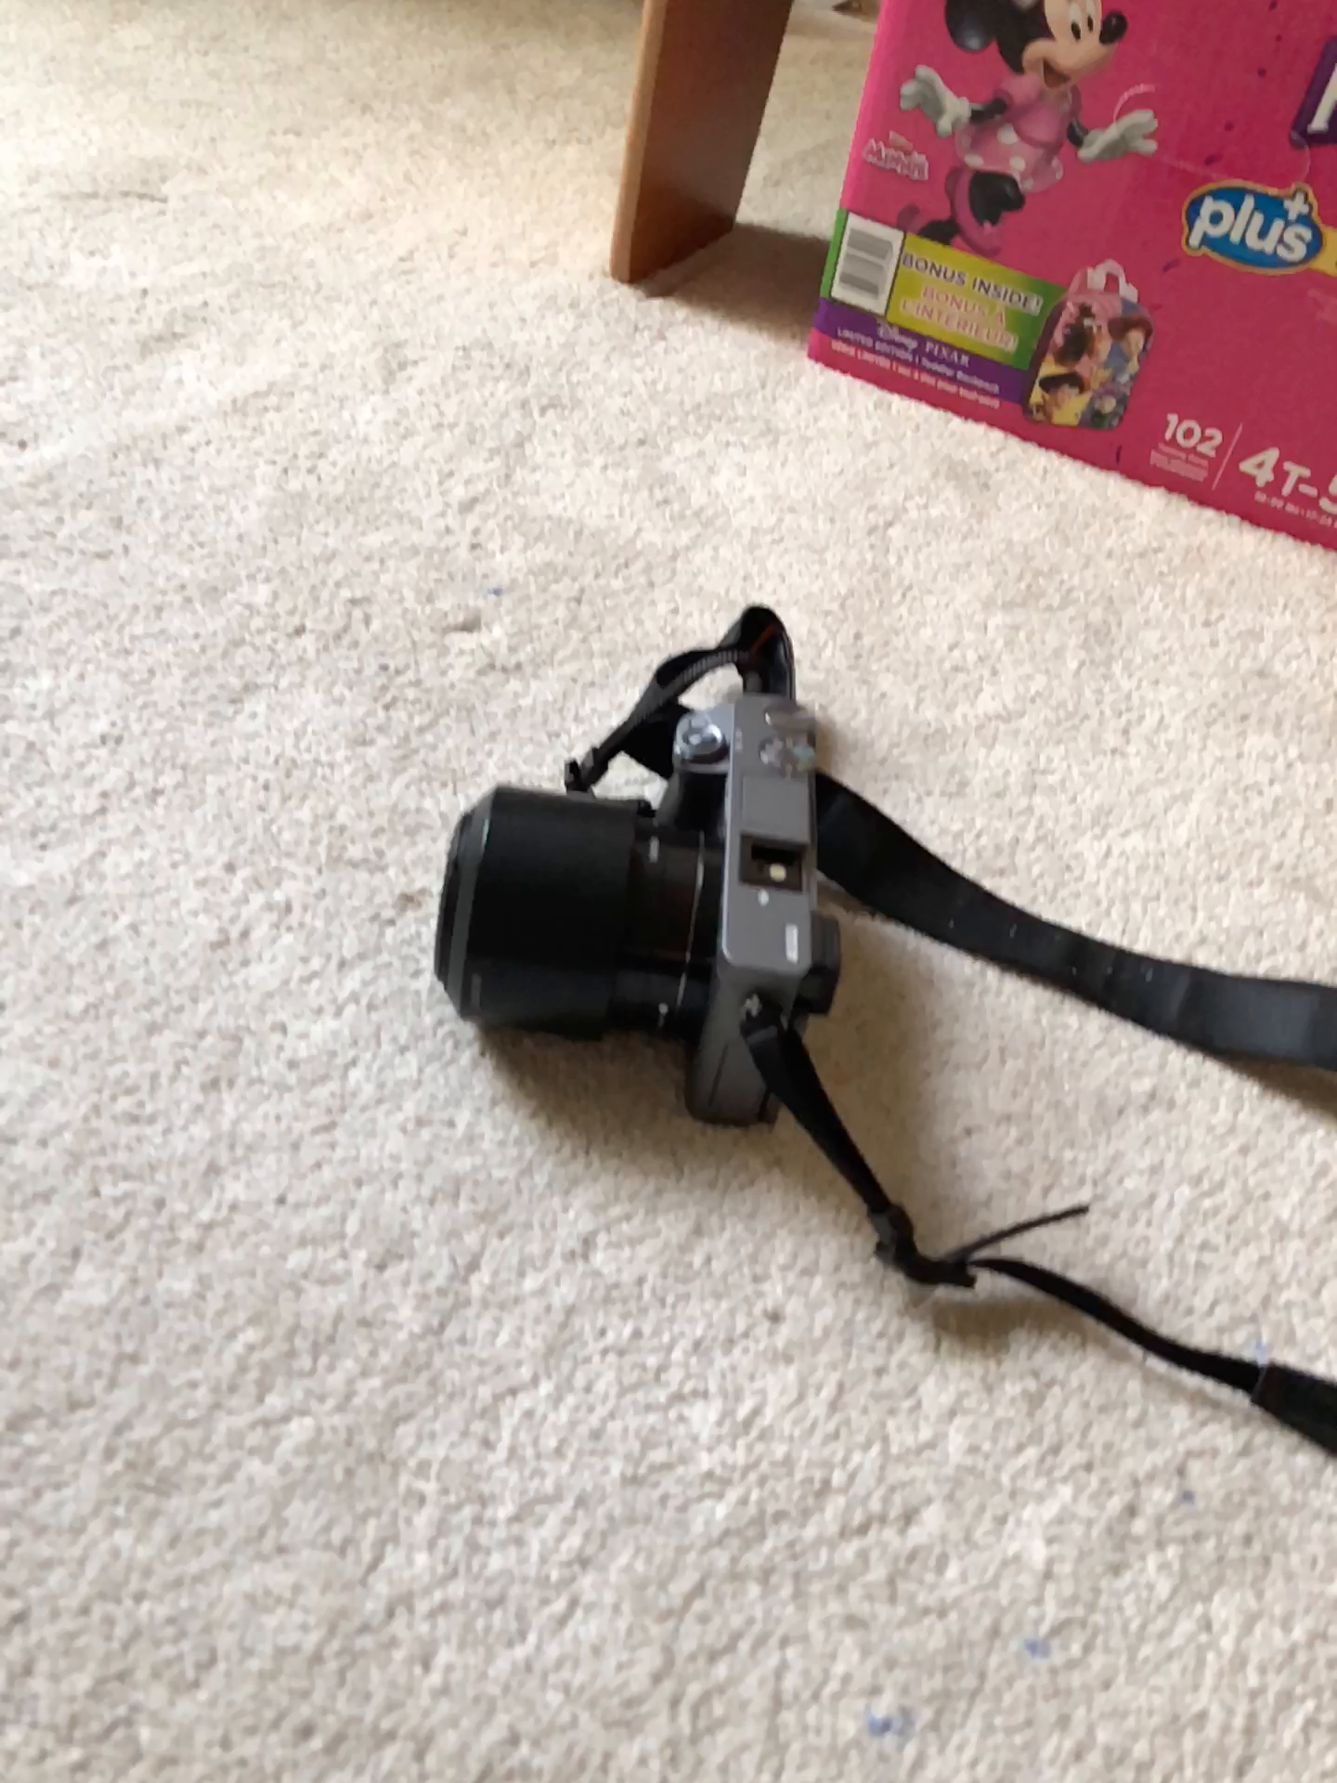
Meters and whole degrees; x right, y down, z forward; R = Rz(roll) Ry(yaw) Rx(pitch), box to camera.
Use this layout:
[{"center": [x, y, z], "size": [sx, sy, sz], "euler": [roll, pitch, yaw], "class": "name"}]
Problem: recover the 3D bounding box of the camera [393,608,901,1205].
[{"center": [-0.006, -0.001, 0.396], "size": [0.110, 0.070, 0.141], "euler": [8, 42, -5], "class": "camera"}]
